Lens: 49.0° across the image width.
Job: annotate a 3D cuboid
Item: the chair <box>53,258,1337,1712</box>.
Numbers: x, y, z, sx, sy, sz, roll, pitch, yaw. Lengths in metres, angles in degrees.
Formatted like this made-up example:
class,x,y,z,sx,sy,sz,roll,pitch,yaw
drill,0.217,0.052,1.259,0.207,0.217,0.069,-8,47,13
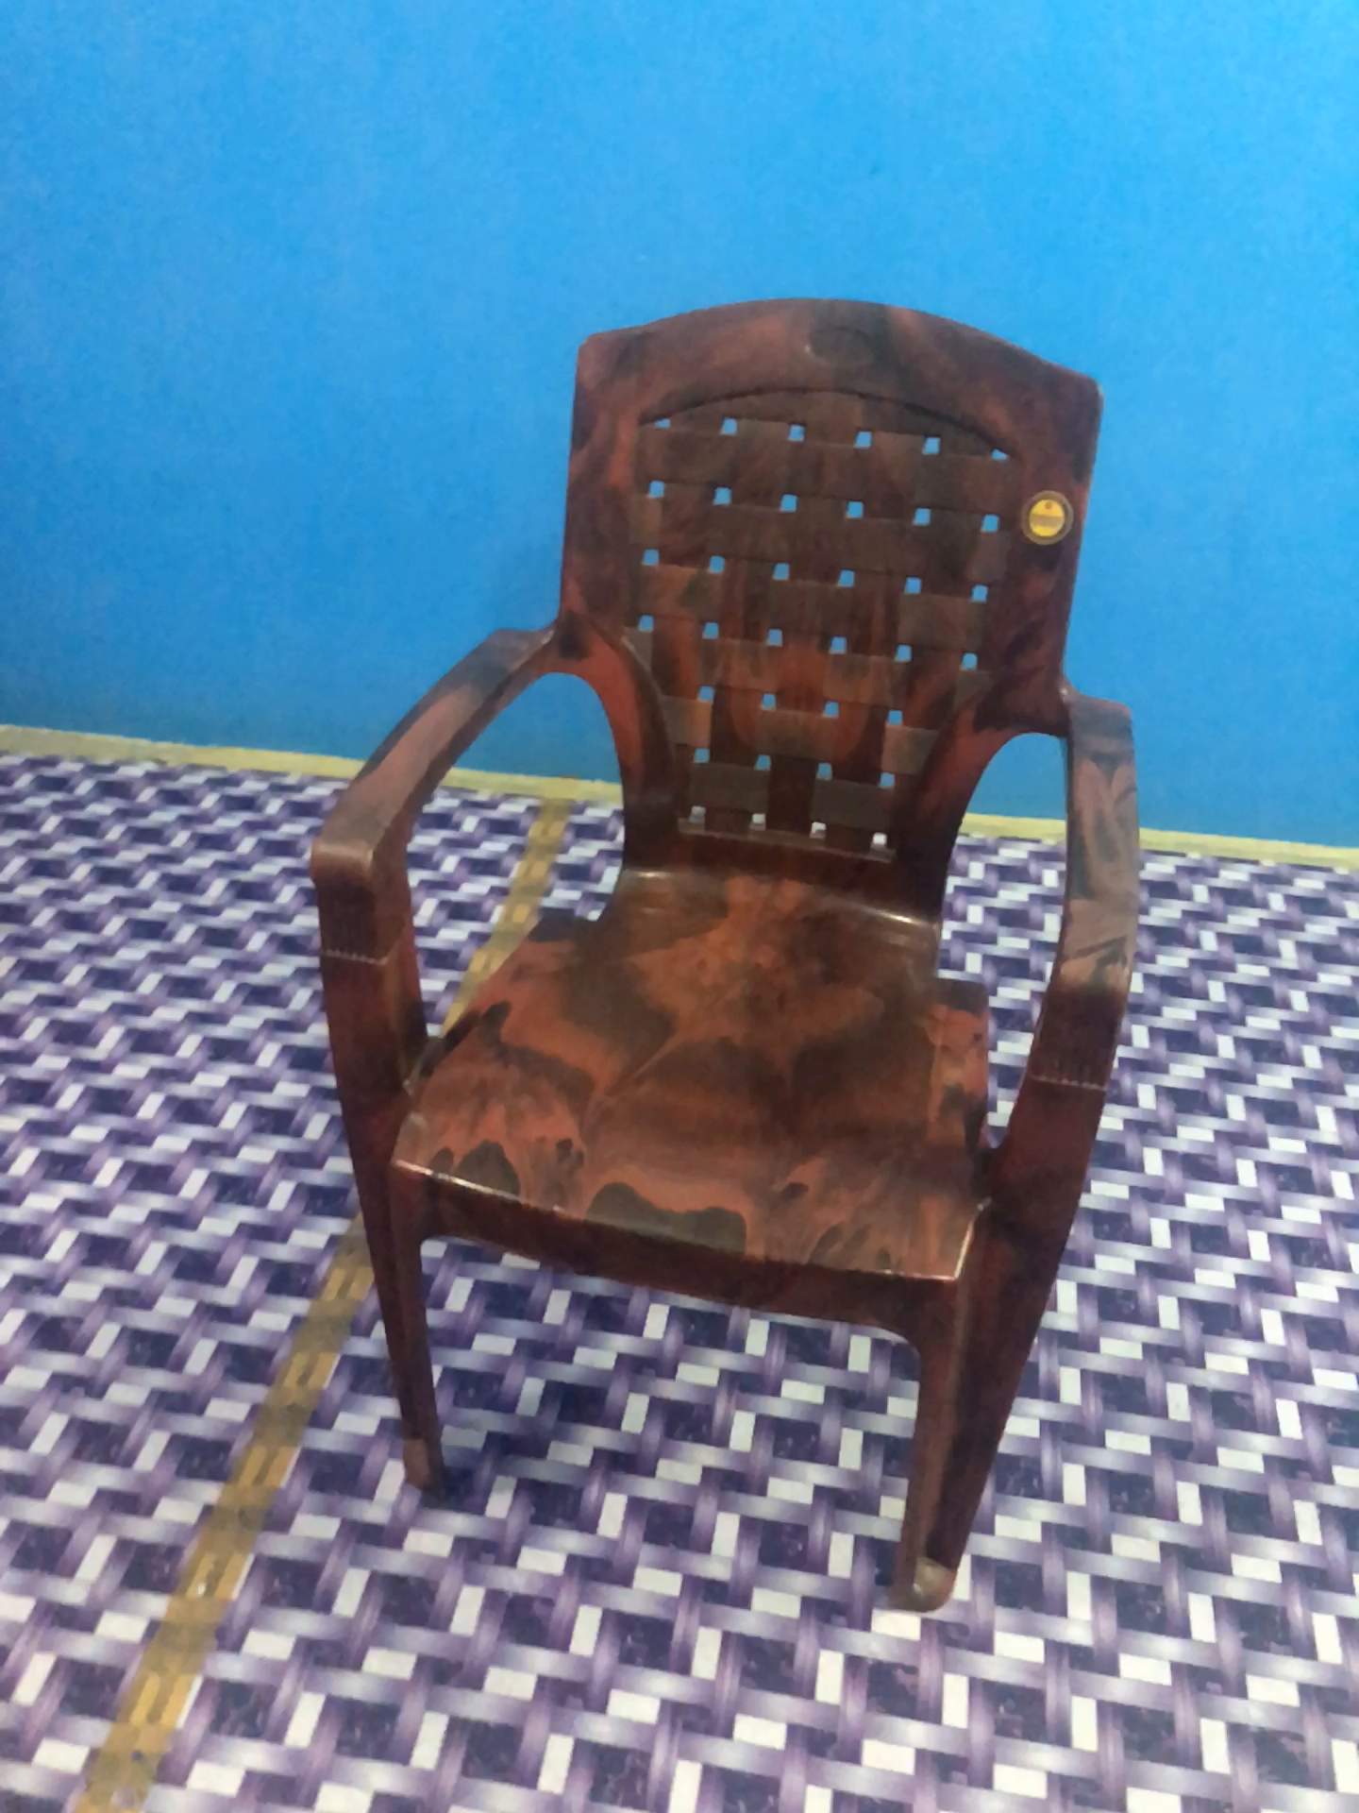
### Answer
class,x,y,z,sx,sy,sz,roll,pitch,yaw
chair,0.051,0.043,1.148,0.590,0.846,0.593,9,37,11
